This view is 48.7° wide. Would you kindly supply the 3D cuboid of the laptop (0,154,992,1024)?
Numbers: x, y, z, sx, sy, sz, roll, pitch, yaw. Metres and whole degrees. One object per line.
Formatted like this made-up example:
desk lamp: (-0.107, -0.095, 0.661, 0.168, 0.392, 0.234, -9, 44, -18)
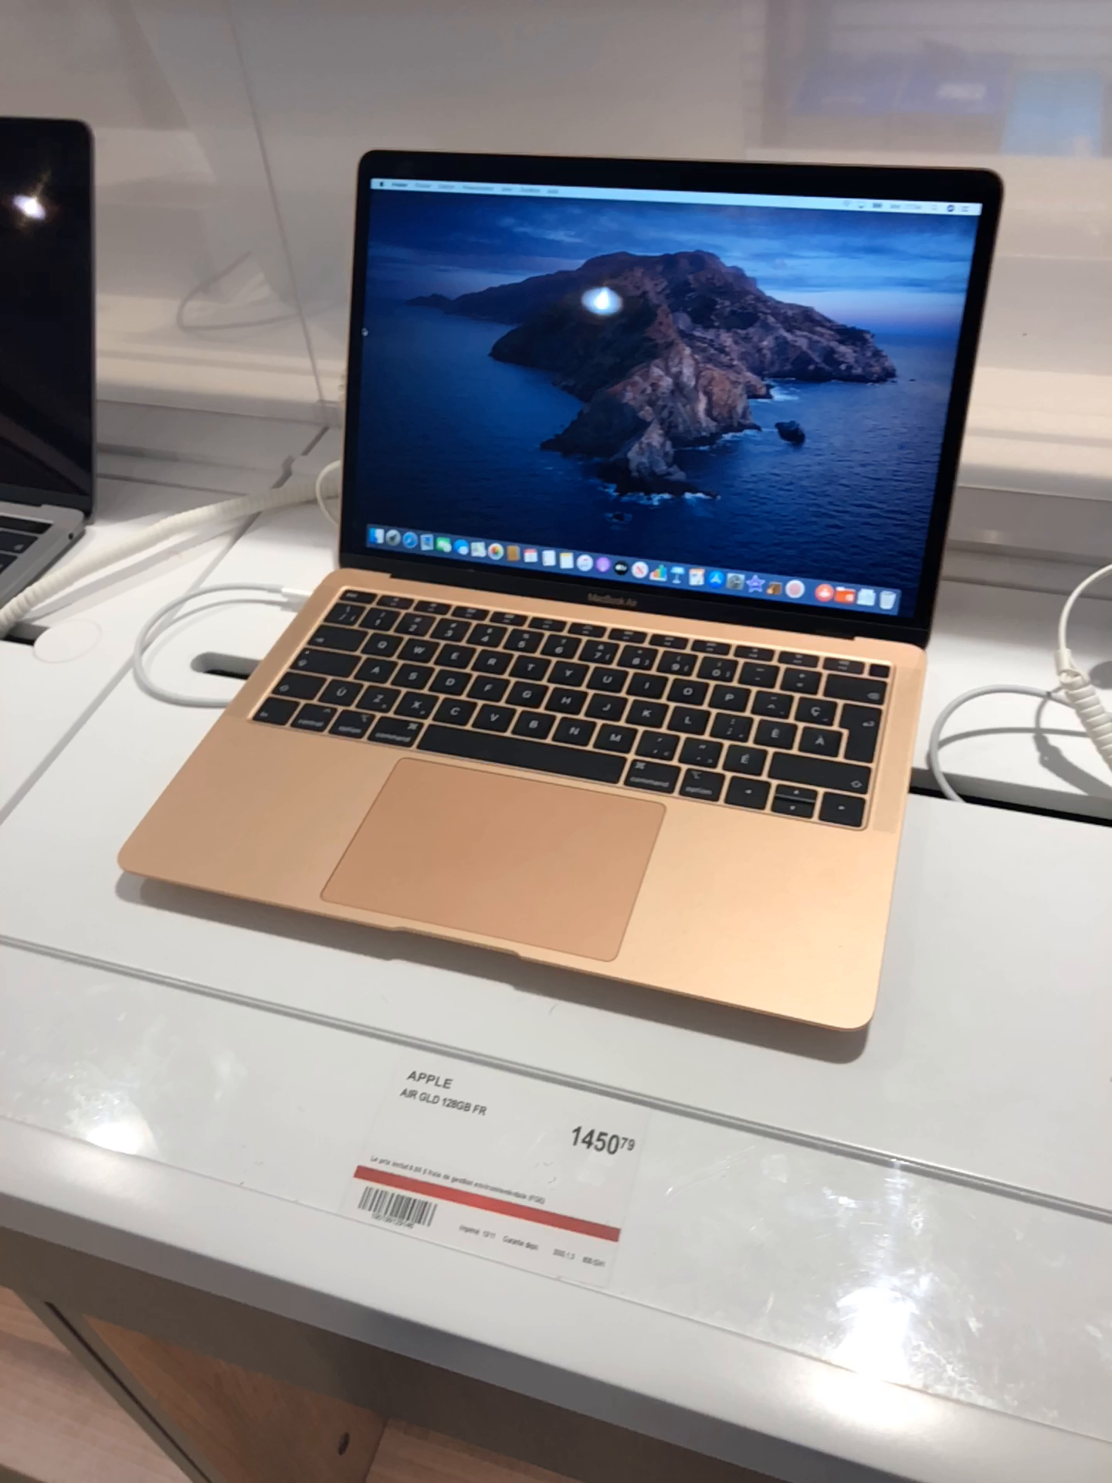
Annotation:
laptop: (0.004, -0.091, 0.505, 0.291, 0.170, 0.304, 9, 46, 15)
